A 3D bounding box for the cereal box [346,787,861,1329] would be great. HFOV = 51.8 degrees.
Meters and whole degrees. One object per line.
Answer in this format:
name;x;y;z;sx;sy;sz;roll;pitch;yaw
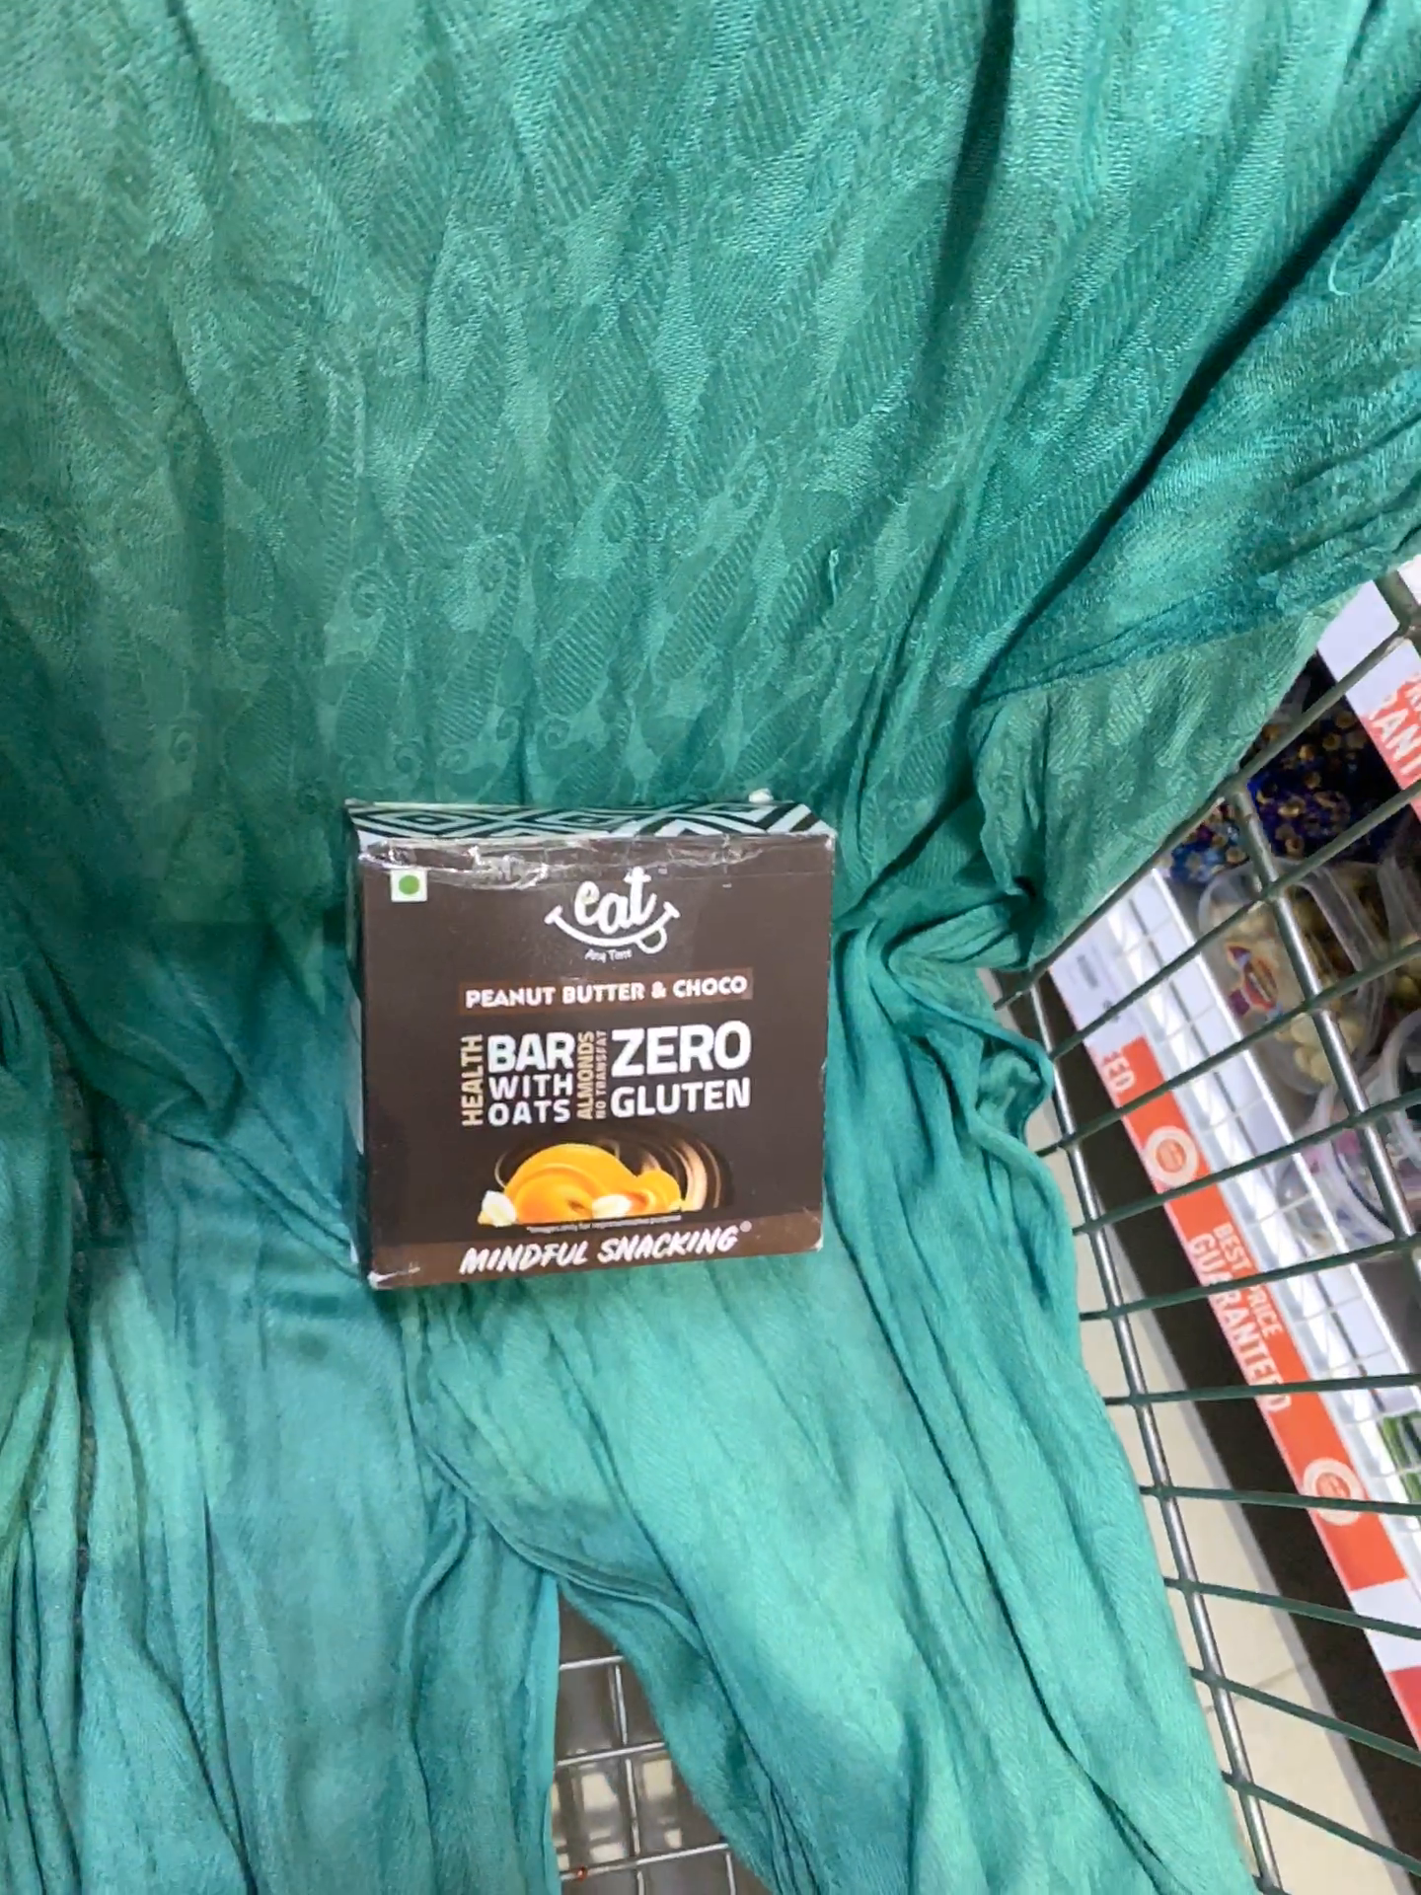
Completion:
cereal box;-0.037;0.026;0.451;0.140;0.090;0.140;-2;102;-14
